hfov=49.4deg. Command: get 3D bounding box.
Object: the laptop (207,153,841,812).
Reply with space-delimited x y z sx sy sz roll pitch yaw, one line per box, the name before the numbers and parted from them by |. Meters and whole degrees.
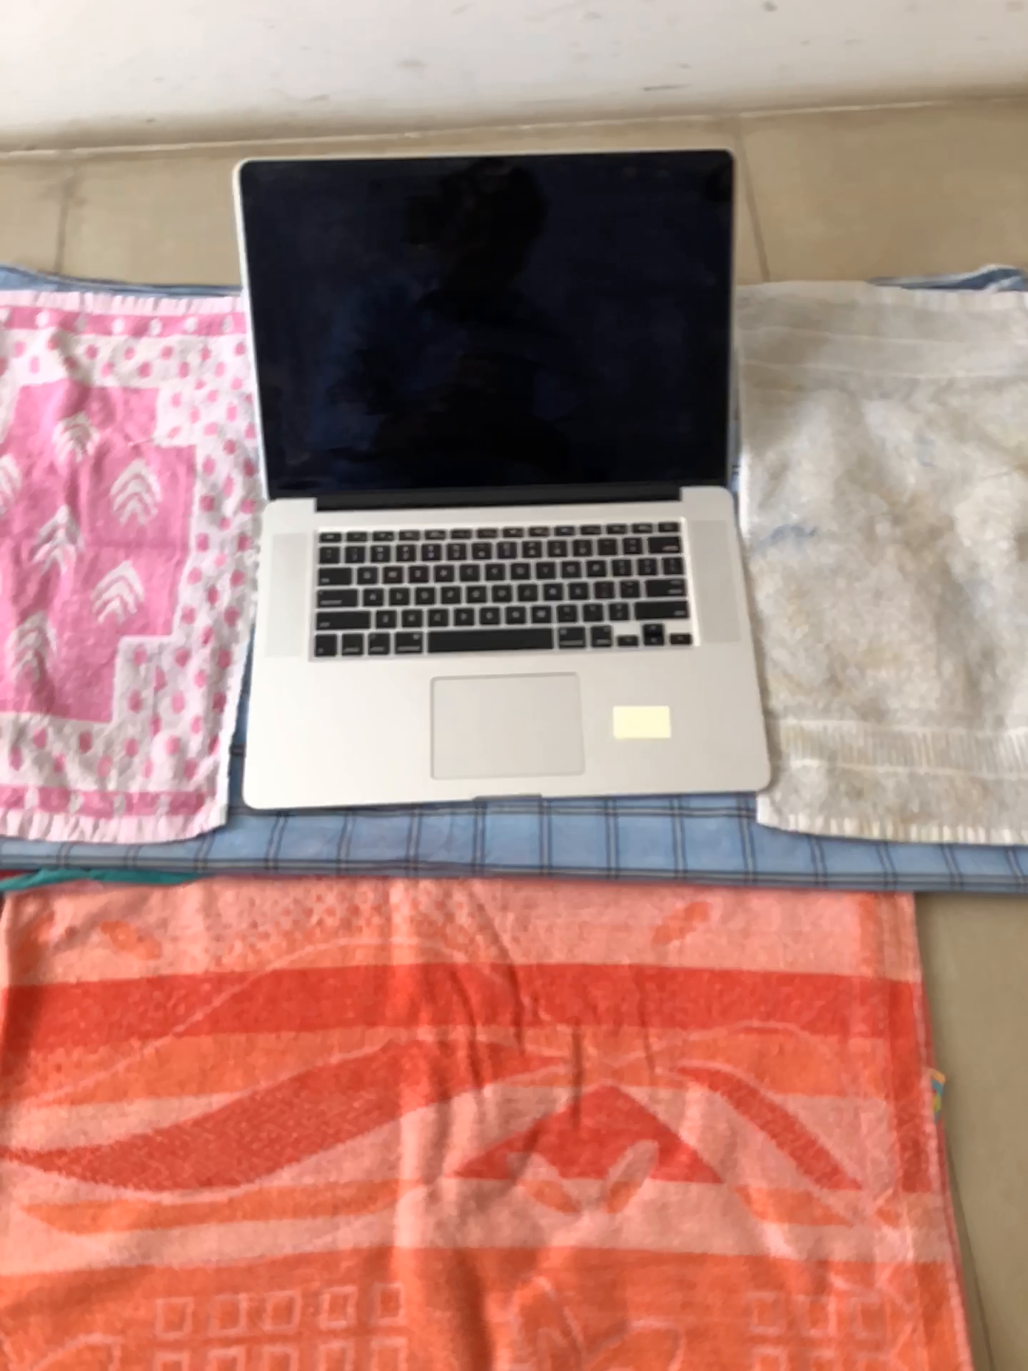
laptop | 0.000 -0.141 0.754 0.343 0.144 0.414 -2 66 1
